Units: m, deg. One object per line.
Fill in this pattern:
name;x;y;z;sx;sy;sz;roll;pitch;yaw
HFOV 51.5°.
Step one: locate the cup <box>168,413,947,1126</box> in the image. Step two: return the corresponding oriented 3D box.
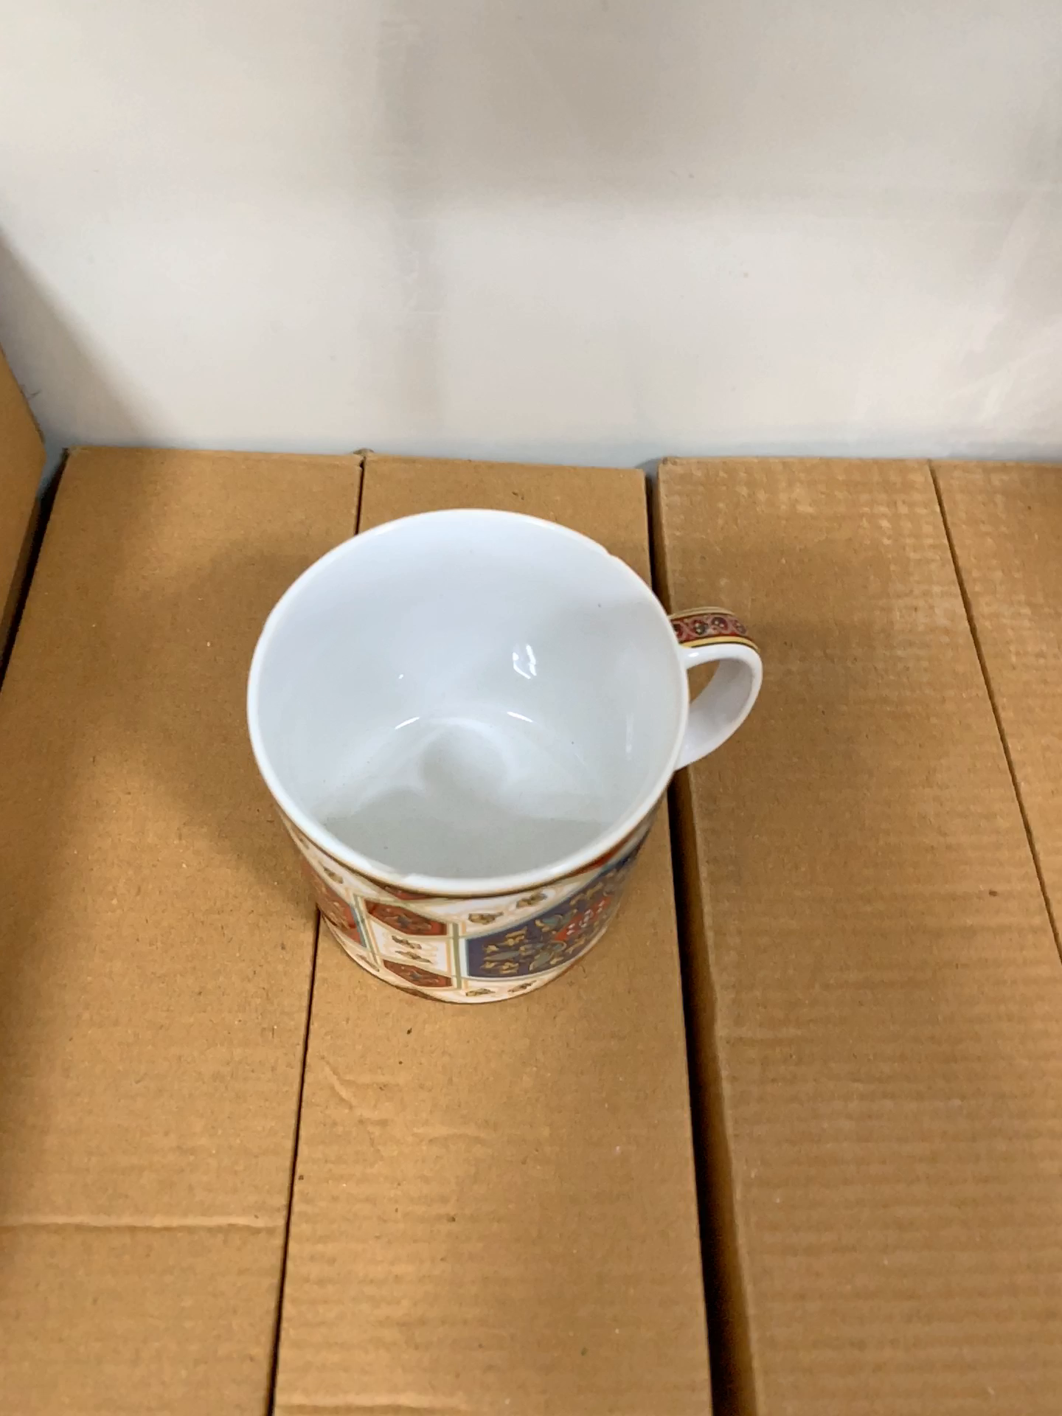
cup;0.001;0.011;0.207;0.100;0.070;0.080;-22;64;-16
